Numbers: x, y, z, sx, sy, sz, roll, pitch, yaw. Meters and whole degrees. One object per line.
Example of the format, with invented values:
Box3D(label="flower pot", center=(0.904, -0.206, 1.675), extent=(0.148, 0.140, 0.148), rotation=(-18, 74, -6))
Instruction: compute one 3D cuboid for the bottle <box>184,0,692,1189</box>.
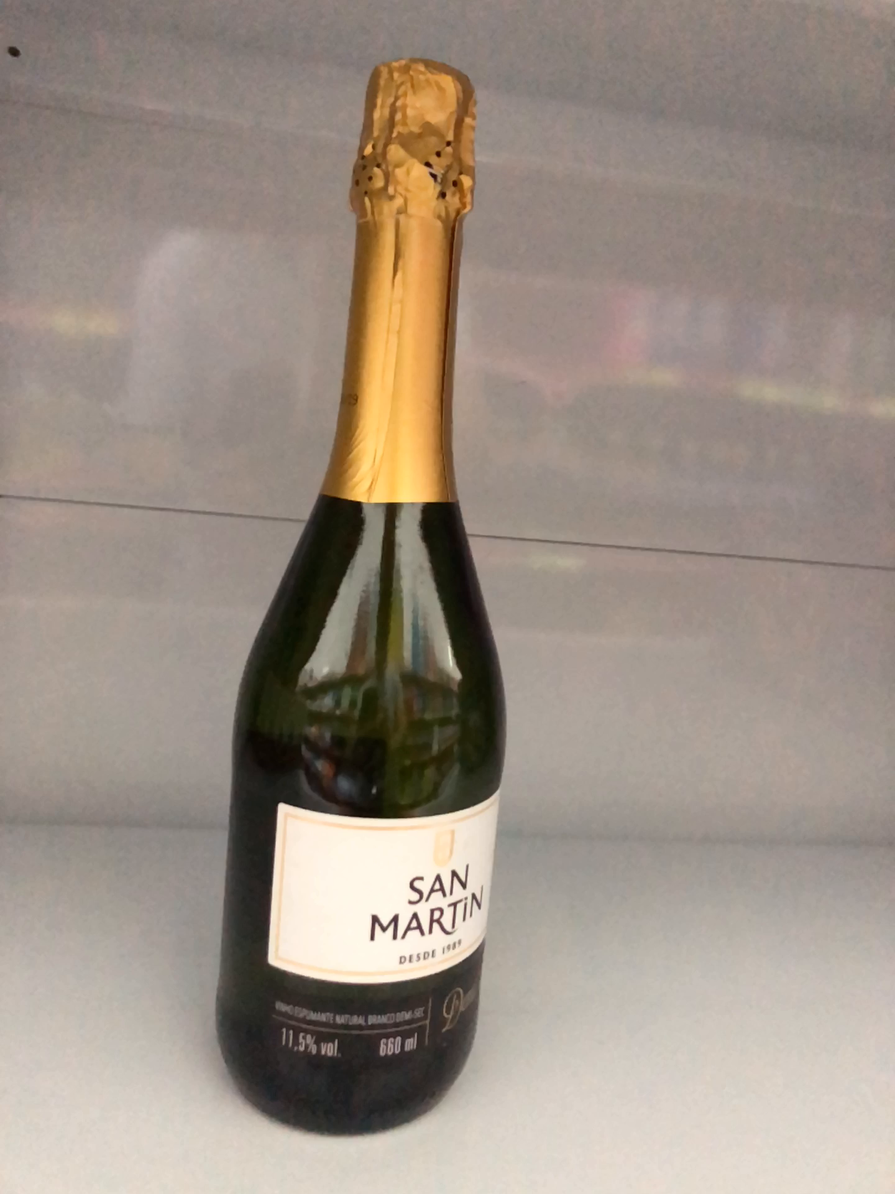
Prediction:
Box3D(label="bottle", center=(-0.011, -0.009, 0.288), extent=(0.090, 0.309, 0.080), rotation=(-1, 11, -34))
